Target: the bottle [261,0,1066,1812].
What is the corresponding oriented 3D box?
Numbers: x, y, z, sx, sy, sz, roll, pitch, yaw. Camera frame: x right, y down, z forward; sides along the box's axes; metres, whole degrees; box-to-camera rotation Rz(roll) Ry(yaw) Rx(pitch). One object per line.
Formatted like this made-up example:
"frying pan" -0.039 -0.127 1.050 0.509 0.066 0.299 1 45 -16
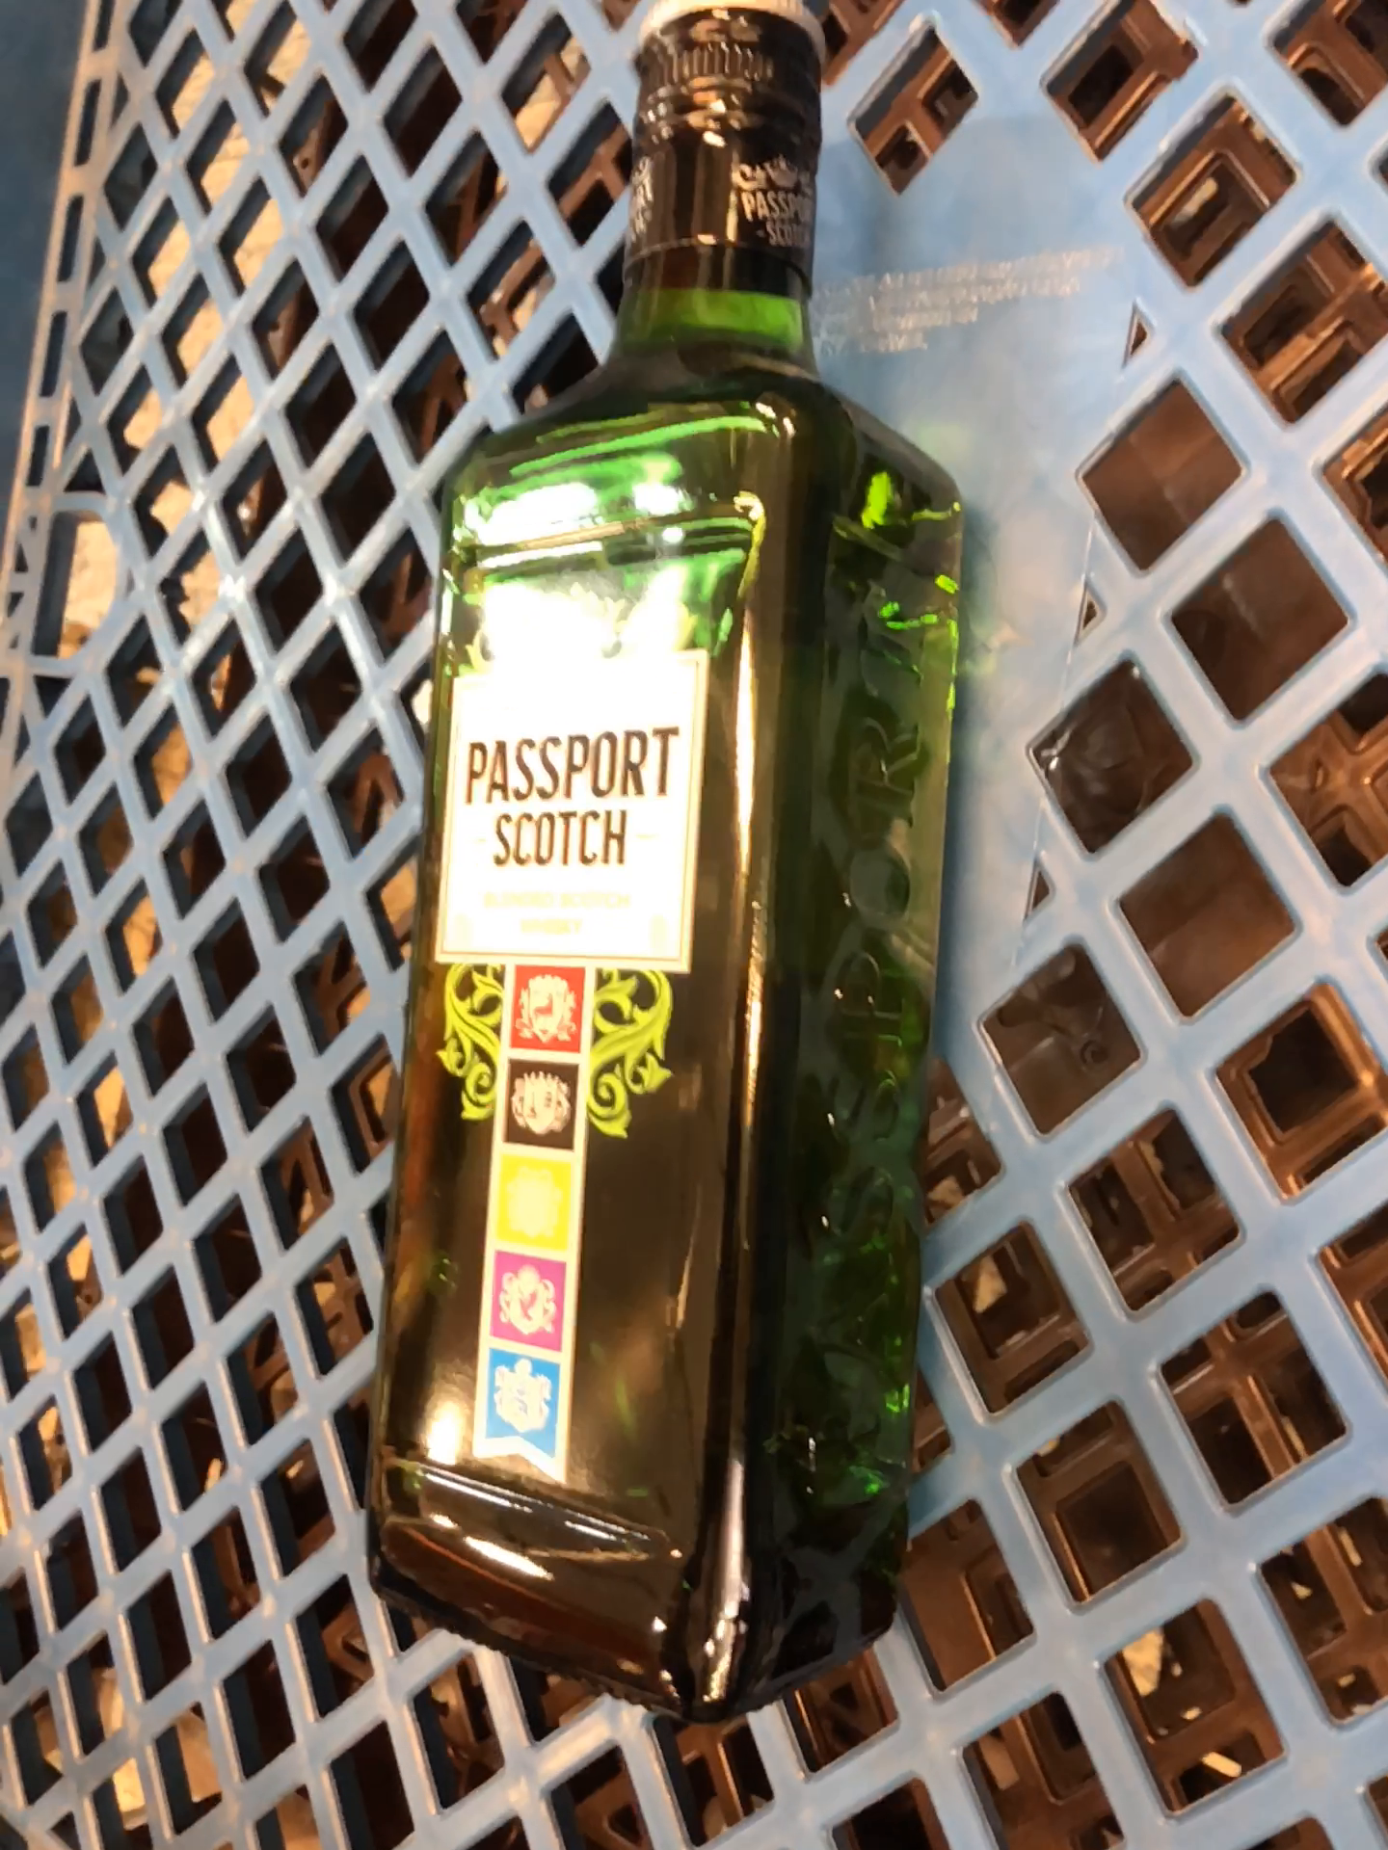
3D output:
"bottle" -0.002 -0.034 0.242 0.080 0.070 0.280 1 85 38
